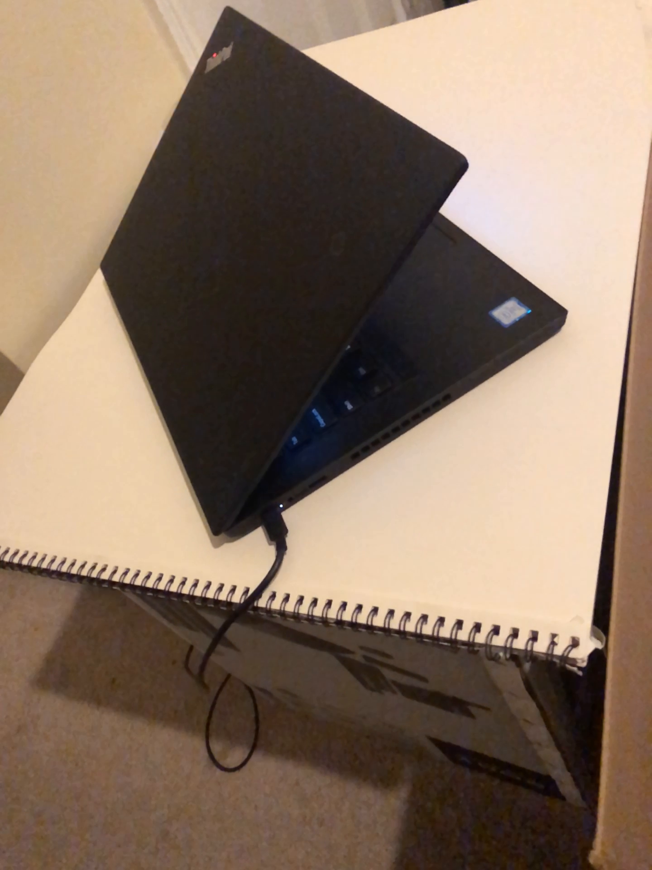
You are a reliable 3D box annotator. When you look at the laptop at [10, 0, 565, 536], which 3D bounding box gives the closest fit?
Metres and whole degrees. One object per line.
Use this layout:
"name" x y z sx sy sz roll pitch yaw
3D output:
"laptop" -0.050 -0.136 0.459 0.226 0.115 0.319 -33 47 -1
